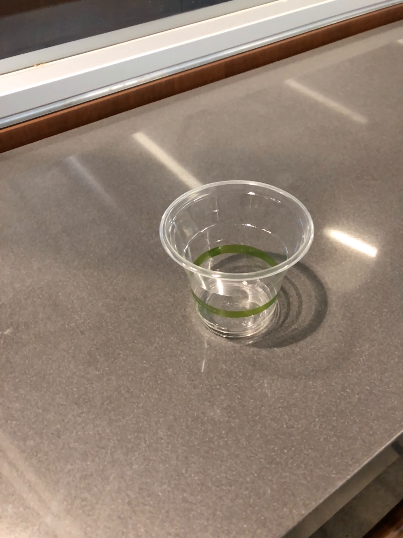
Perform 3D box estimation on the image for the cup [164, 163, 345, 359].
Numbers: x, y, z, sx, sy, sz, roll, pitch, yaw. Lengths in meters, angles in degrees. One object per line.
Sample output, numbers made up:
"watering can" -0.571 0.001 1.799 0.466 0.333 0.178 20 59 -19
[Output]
"cup" 0.022 -0.006 0.231 0.070 0.060 0.070 -3 43 2
